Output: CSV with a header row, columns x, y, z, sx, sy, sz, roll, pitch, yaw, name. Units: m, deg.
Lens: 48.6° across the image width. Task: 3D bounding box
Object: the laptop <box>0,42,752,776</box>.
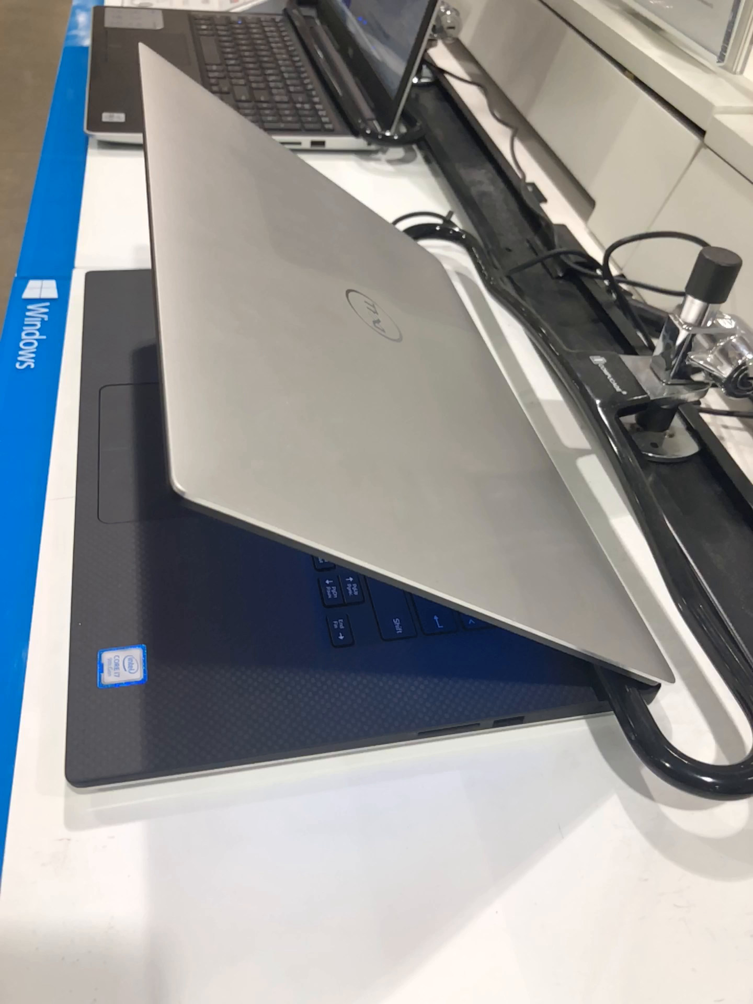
x,y,z,sx,sy,sz,roll,pitch,yaw,name
-0.031,-0.083,0.385,0.216,0.133,0.347,-6,45,-13,laptop
